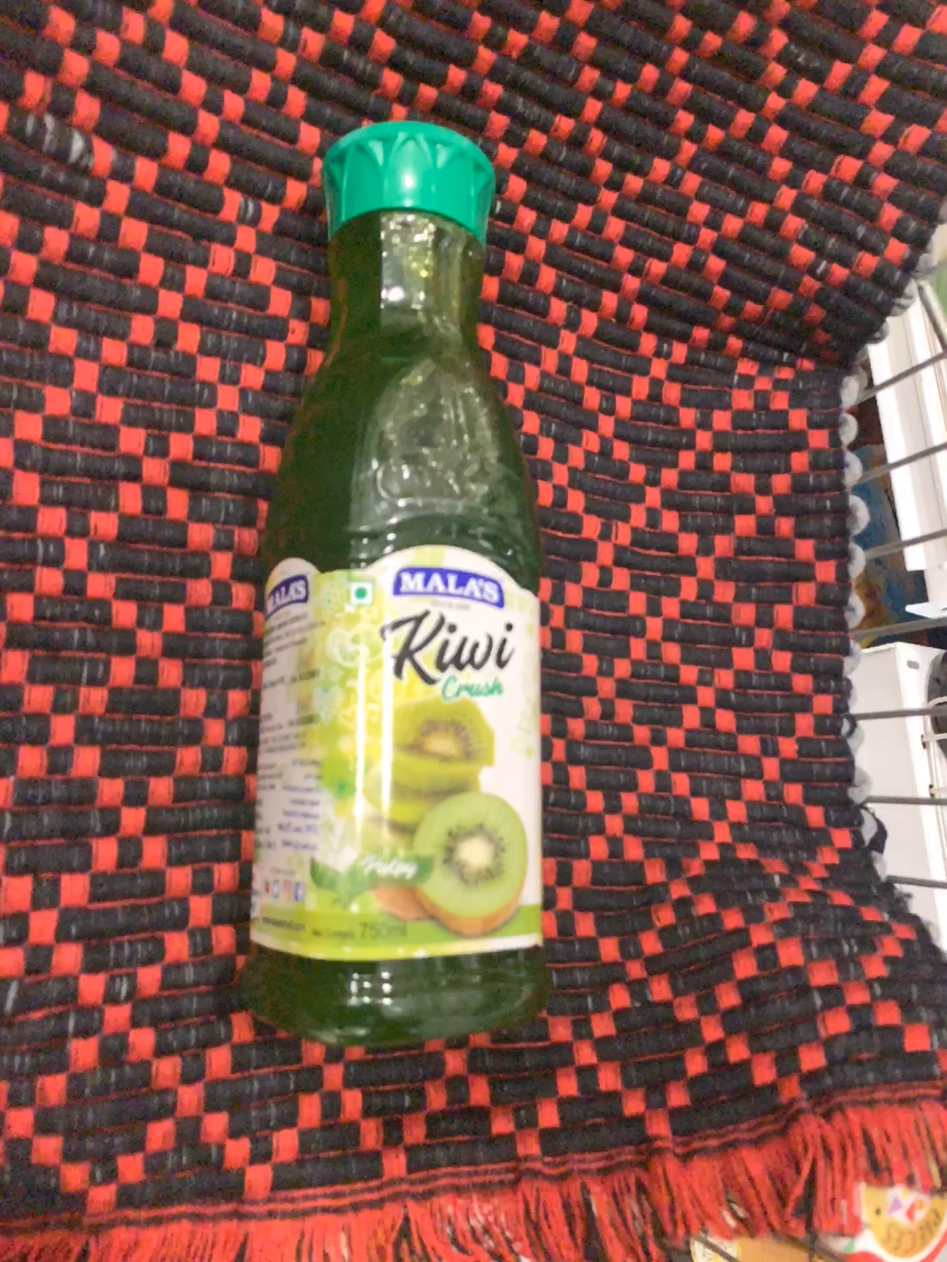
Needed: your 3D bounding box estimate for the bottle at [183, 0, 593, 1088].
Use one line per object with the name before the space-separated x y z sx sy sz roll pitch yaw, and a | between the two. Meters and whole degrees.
bottle | -0.026 -0.029 0.261 0.070 0.080 0.260 7 75 -30
